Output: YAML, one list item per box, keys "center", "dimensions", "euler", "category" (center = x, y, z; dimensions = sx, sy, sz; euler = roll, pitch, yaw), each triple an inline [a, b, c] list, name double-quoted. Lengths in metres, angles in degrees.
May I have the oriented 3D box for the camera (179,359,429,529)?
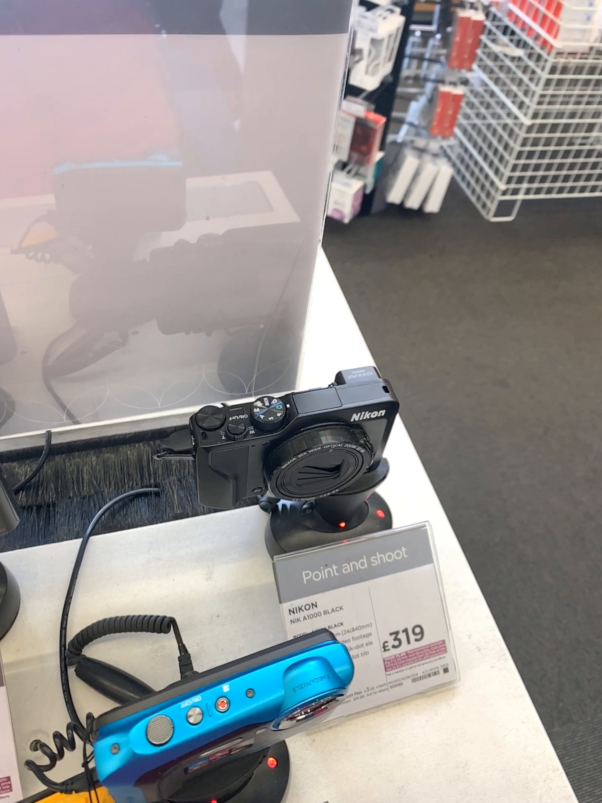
- center: [-0.002, 0.023, 0.335]
  dimensions: [0.120, 0.079, 0.030]
  euler: [-9, 51, -16]
  category: "camera"
